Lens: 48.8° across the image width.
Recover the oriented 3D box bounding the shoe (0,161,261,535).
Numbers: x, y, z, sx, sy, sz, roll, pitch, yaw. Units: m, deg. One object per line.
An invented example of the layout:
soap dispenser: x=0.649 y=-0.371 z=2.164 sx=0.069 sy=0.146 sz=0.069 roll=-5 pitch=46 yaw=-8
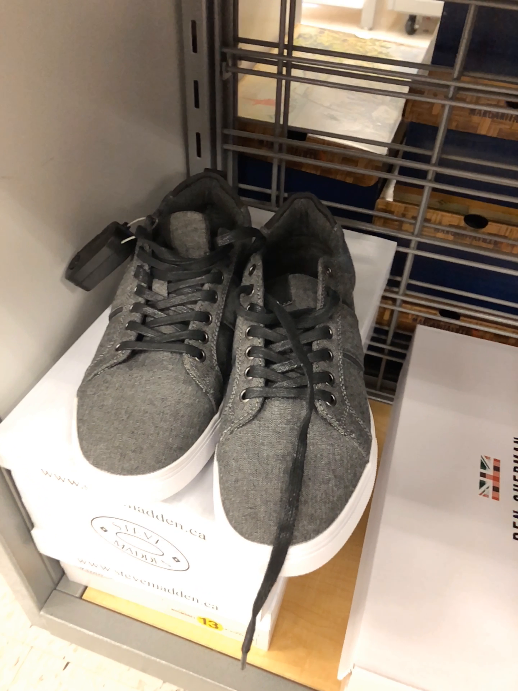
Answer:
shoe: x=-0.069 y=-0.019 z=0.403 sx=0.107 sy=0.099 sz=0.262 roll=6 pitch=44 yaw=4

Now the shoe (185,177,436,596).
shoe: x=0.028 y=0.003 z=0.376 sx=0.107 sy=0.099 sz=0.272 roll=4 pitch=44 yaw=1
